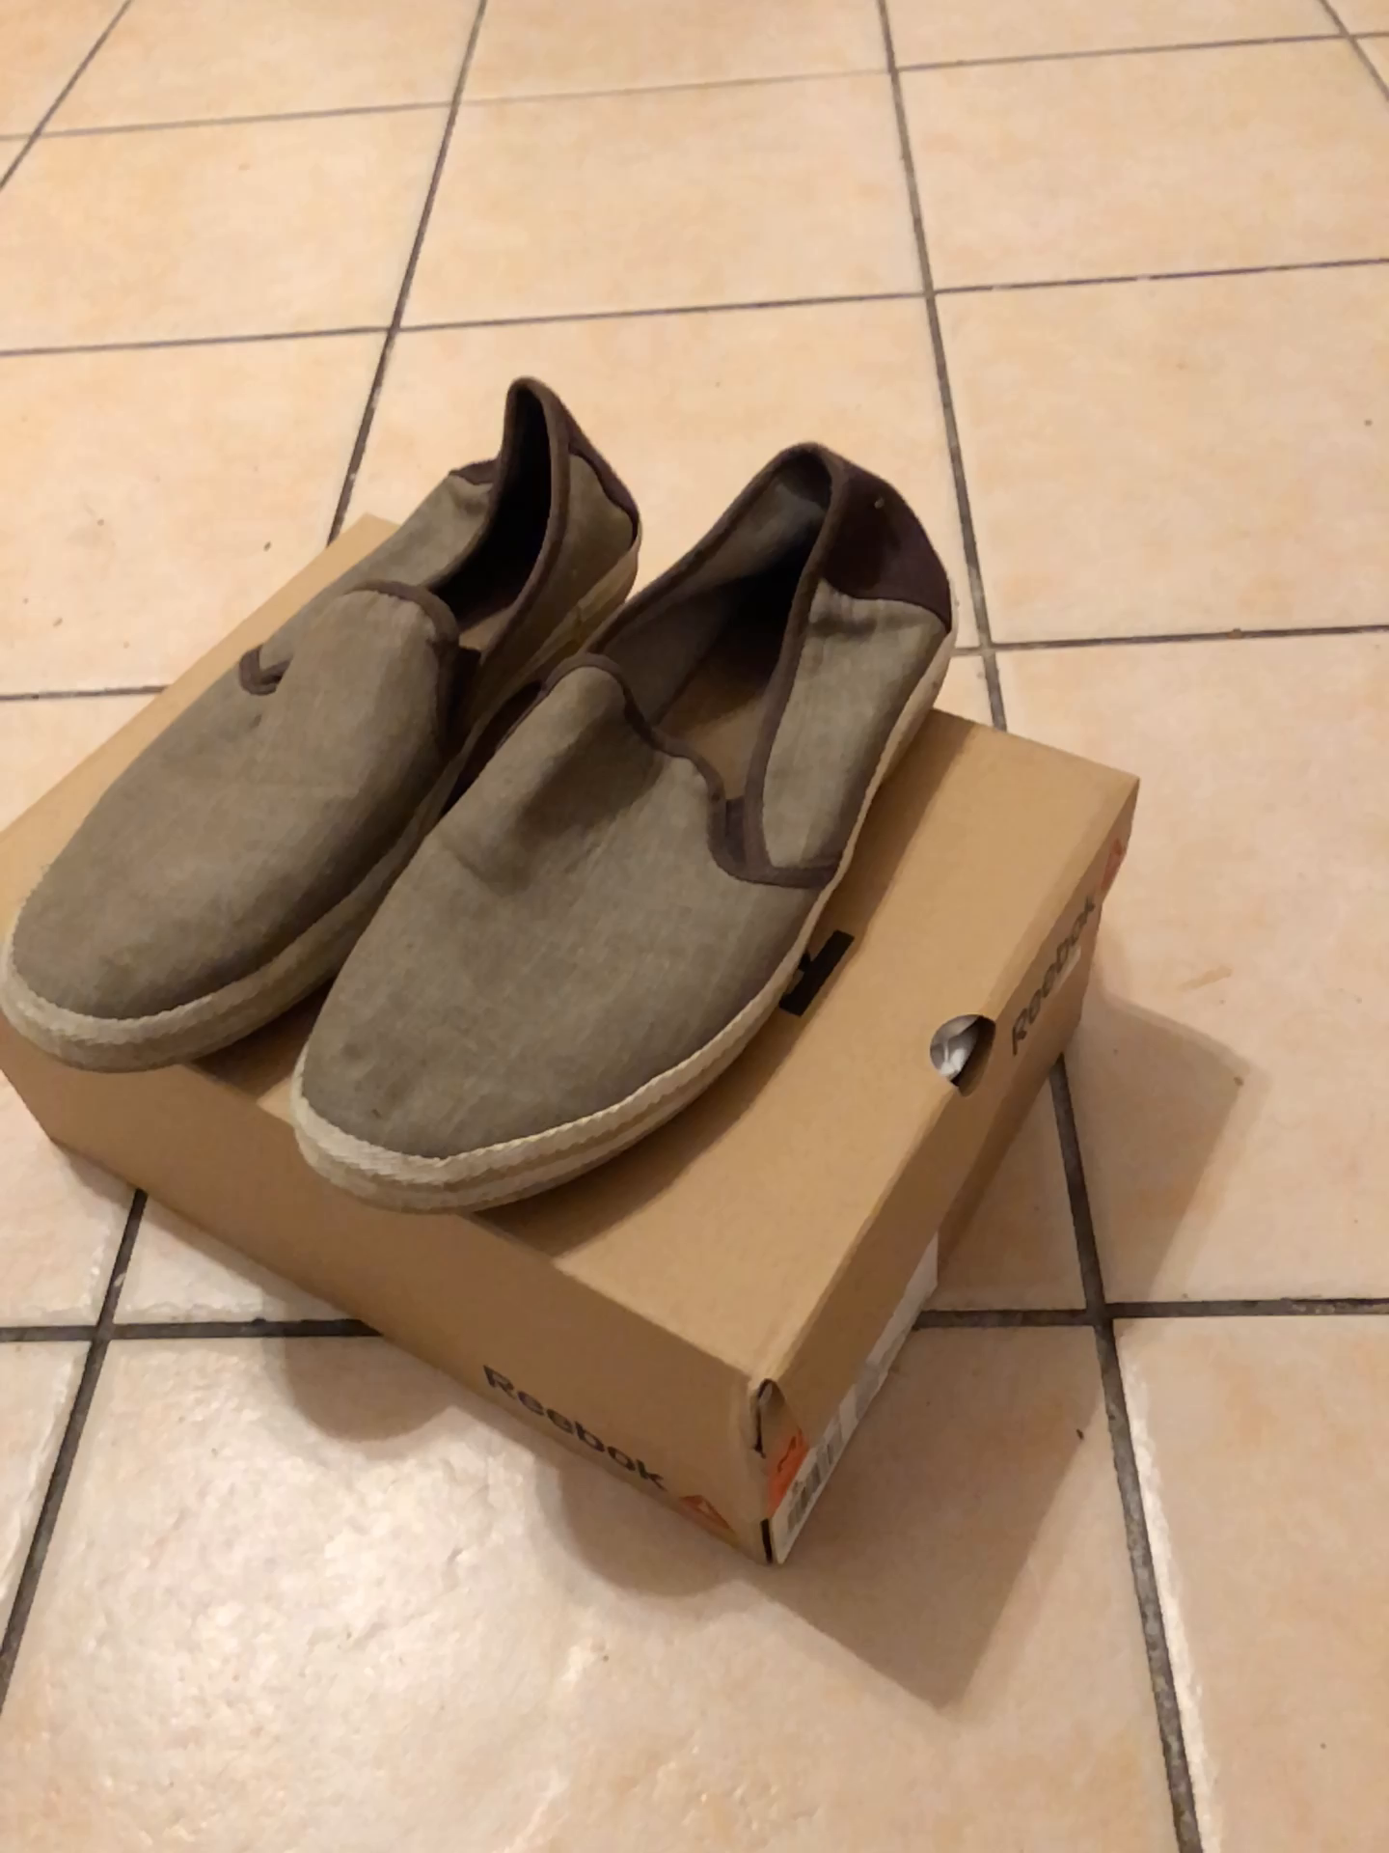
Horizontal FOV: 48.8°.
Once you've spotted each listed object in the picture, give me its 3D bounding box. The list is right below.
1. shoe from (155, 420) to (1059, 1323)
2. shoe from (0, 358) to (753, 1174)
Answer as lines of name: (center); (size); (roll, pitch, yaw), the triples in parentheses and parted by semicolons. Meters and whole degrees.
shoe: (-0.006, -0.035, 0.432); (0.100, 0.069, 0.271); (25, 55, 24)
shoe: (-0.102, -0.072, 0.495); (0.110, 0.069, 0.293); (22, 54, 23)
